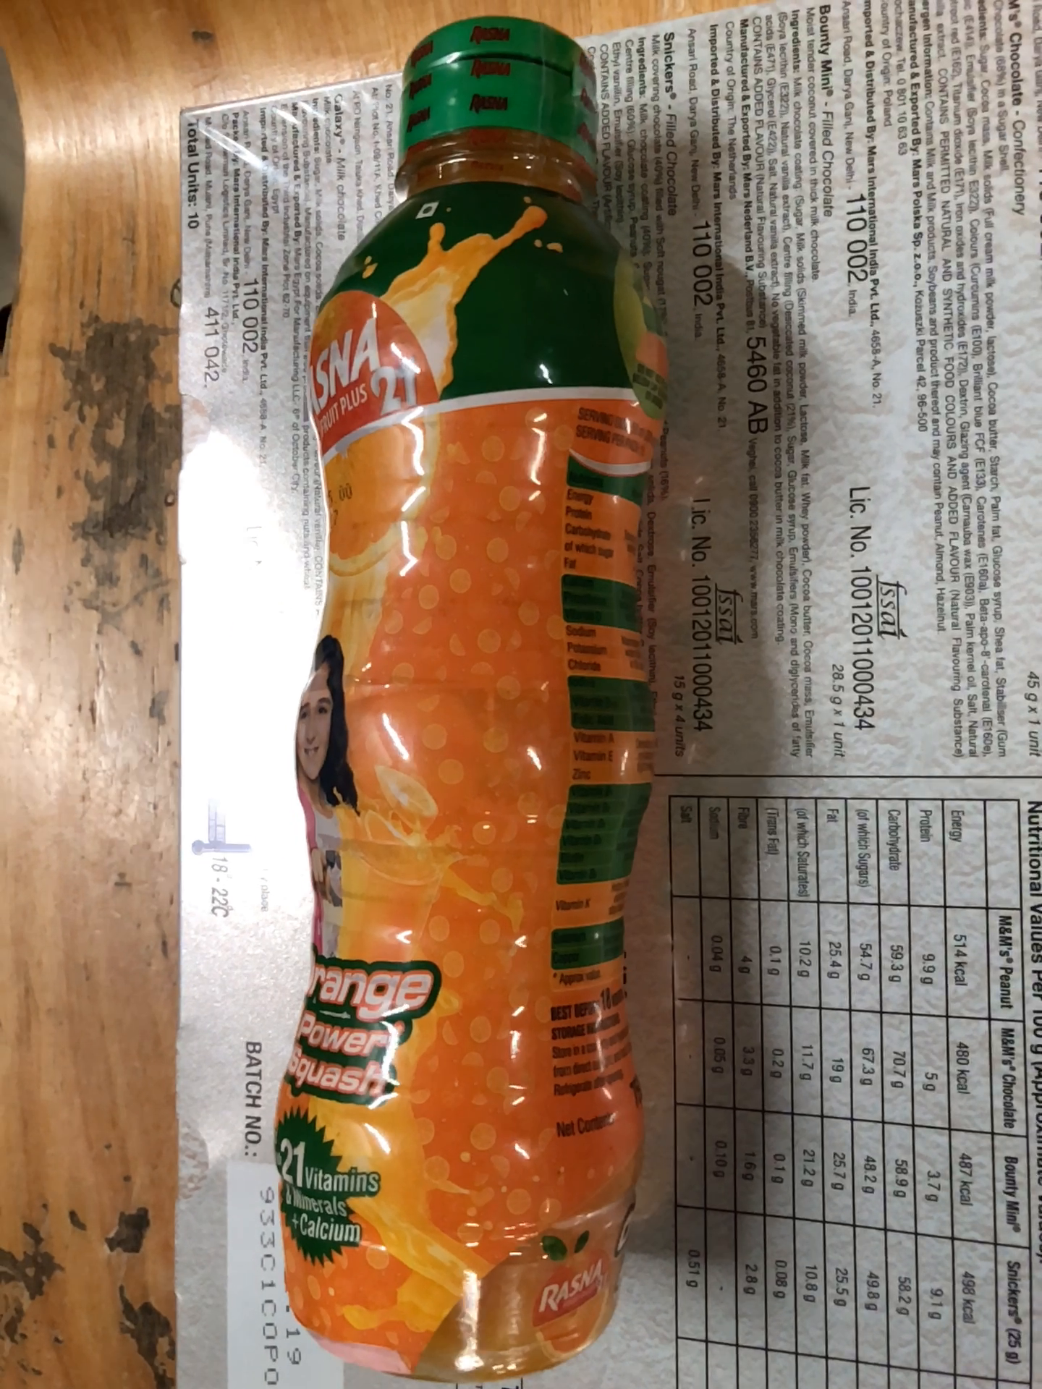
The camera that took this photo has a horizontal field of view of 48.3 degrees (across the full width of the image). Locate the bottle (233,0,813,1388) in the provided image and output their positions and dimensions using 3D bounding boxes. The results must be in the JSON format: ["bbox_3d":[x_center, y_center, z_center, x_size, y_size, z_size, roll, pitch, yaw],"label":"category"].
[{"bbox_3d":[-0.005,-0.007,0.223,0.080,0.070,0.250,3,90,-19],"label":"bottle"}]
